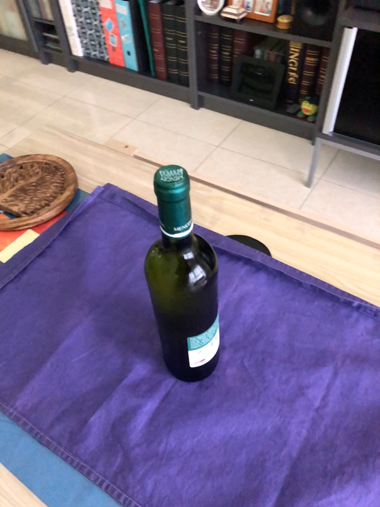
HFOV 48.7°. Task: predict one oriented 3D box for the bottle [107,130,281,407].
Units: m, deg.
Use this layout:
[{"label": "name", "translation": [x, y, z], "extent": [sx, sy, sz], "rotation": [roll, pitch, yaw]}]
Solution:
[{"label": "bottle", "translation": [0.009, 0.034, 0.406], "extent": [0.090, 0.269, 0.090], "rotation": [-2, 49, 2]}]
